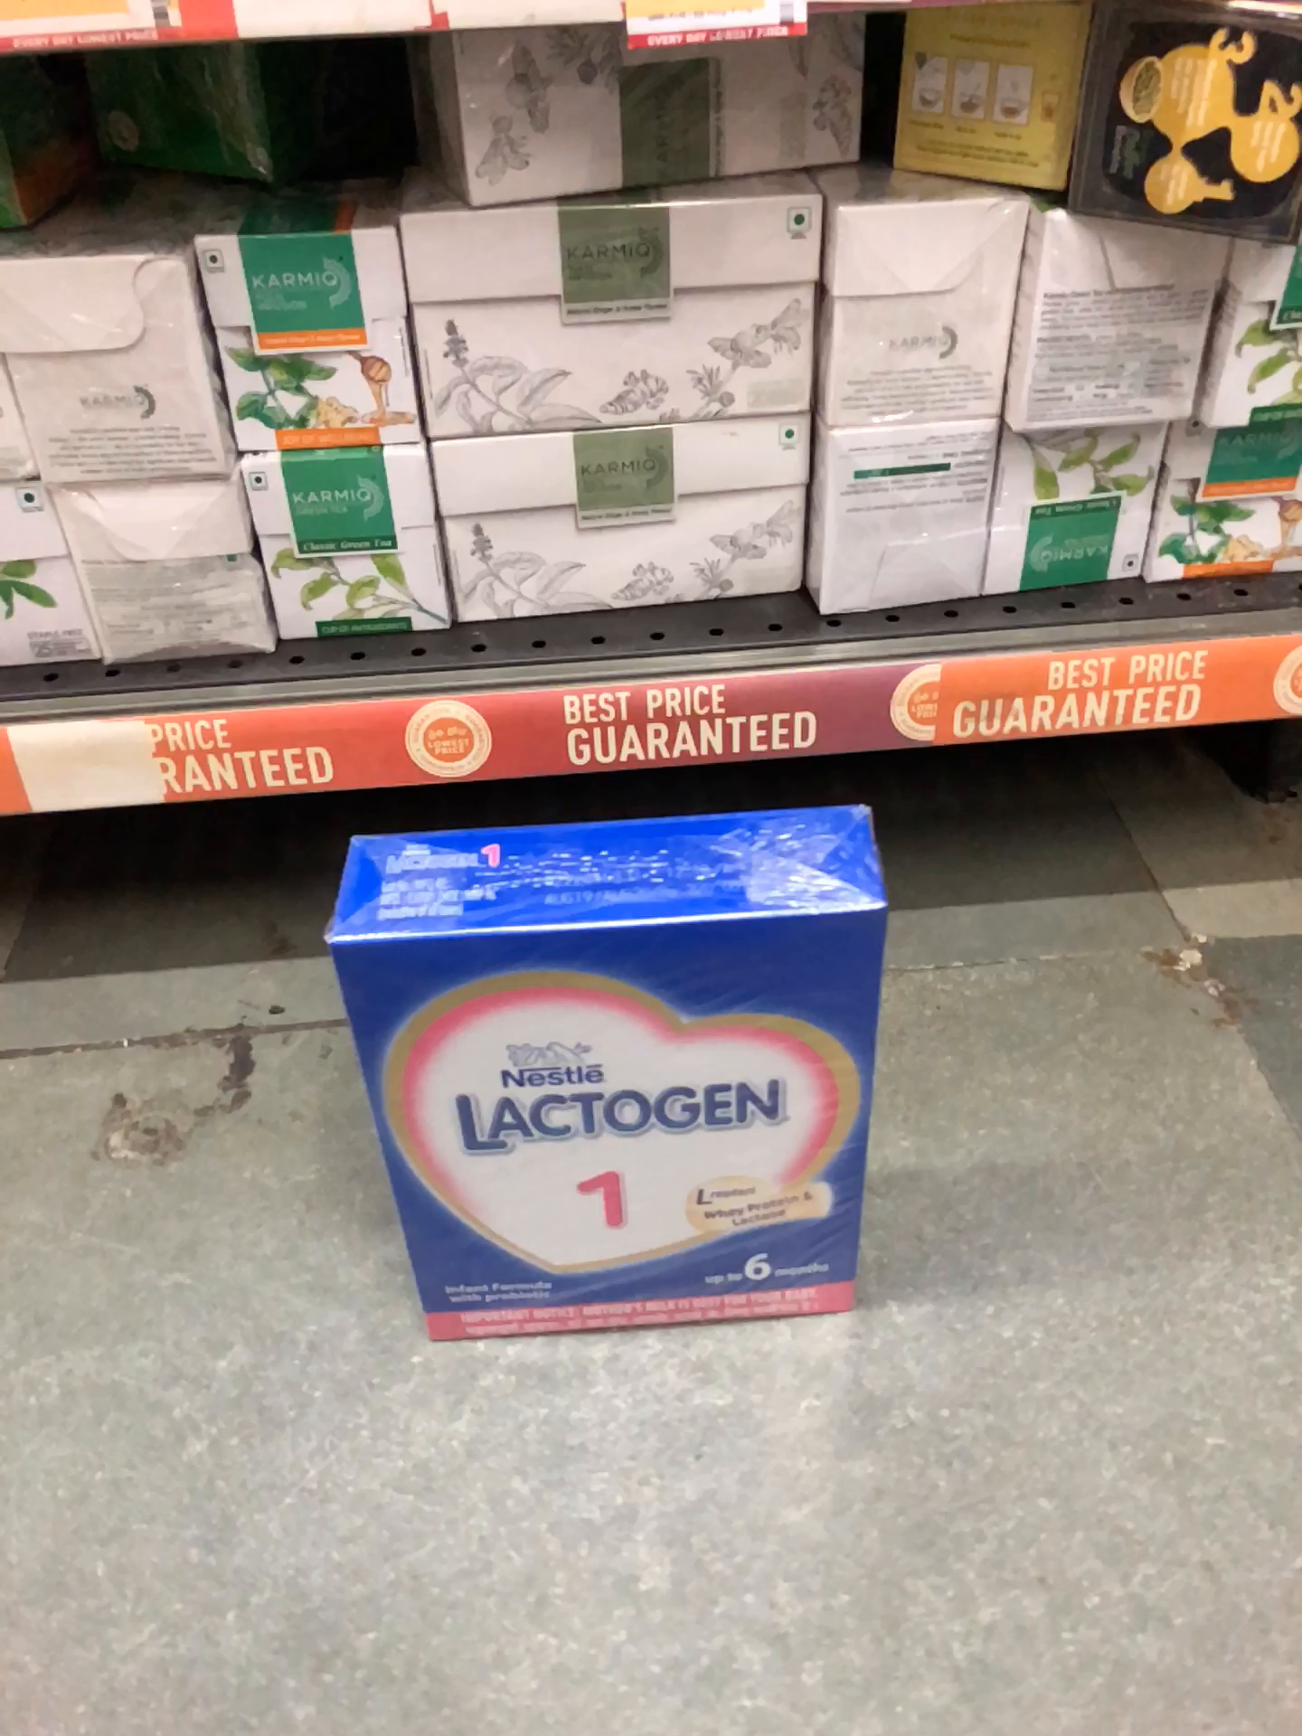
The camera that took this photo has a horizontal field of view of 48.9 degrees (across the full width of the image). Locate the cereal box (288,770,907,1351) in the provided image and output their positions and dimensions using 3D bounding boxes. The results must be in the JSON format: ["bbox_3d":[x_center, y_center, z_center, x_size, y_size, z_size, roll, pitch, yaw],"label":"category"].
[{"bbox_3d":[-0.010,0.070,0.452,0.160,0.199,0.050,-4,40,0],"label":"cereal box"}]
